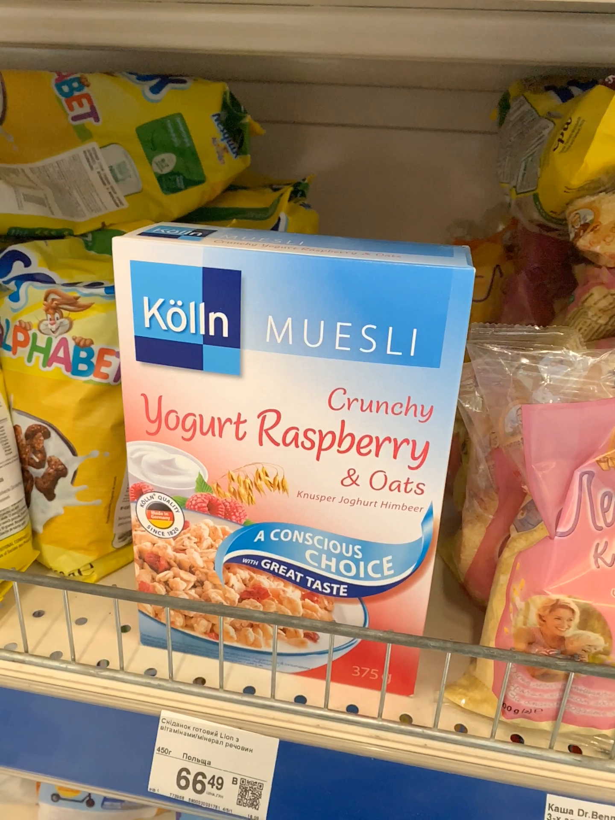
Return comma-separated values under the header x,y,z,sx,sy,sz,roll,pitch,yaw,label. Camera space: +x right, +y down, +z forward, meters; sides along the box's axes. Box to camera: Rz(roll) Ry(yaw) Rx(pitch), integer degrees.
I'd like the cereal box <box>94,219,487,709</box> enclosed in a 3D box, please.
x,y,z,sx,sy,sz,roll,pitch,yaw,label
-0.009,0.026,0.305,0.150,0.208,0.060,7,23,10,cereal box
